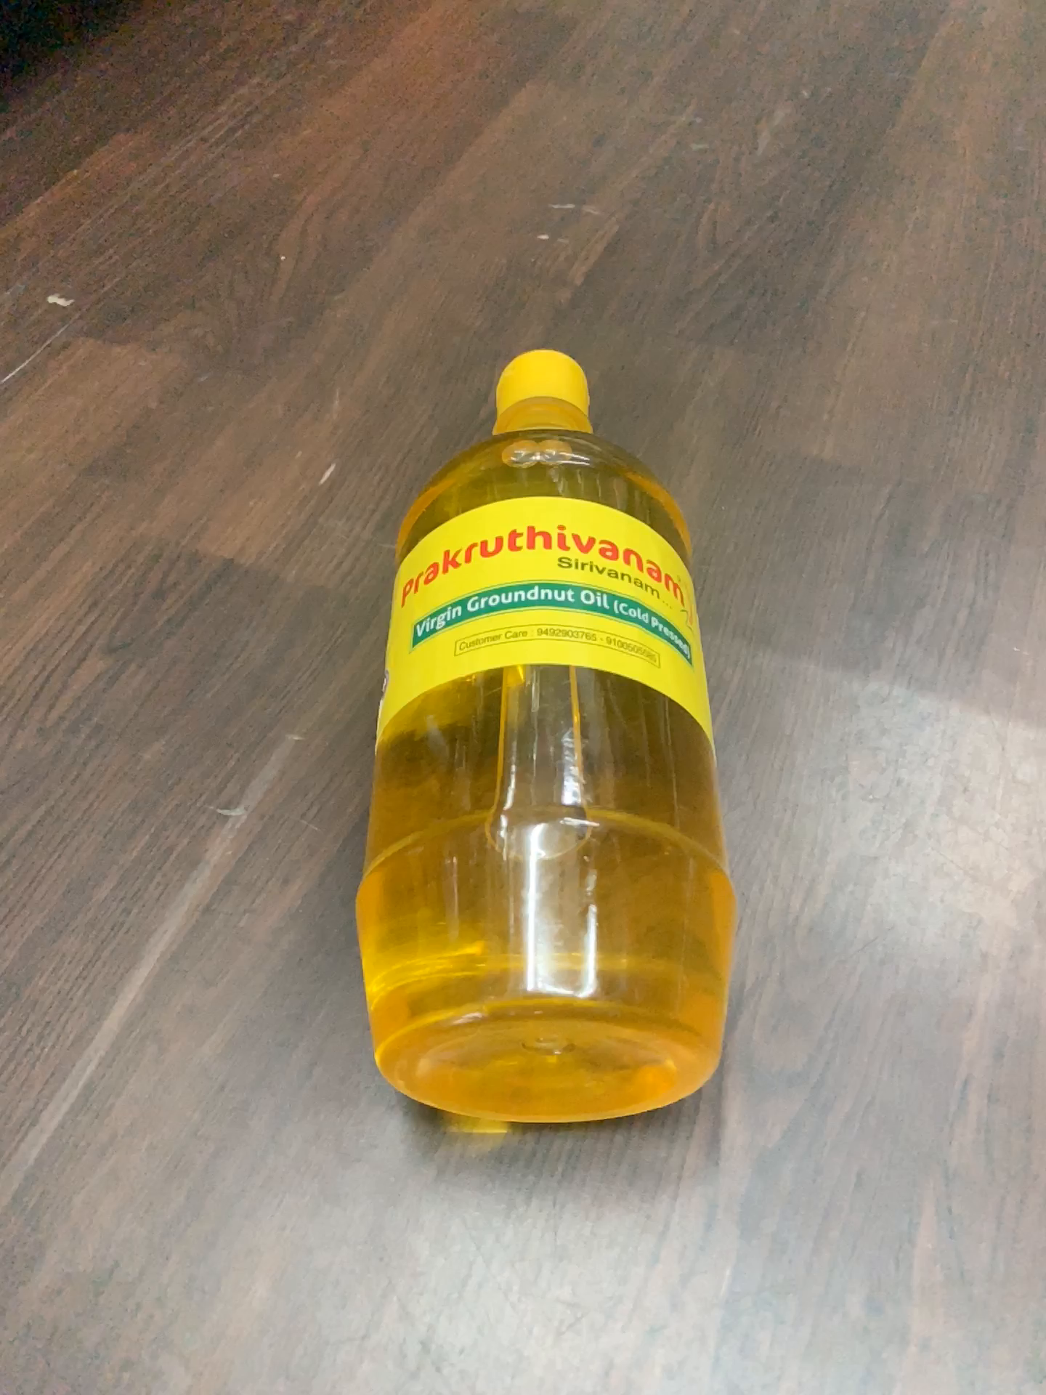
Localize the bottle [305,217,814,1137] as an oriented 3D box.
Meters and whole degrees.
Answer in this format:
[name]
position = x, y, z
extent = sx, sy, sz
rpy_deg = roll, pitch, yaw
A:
[bottle]
position = 0.007, -0.025, 0.301
extent = 0.090, 0.080, 0.261
rpy_deg = 2, 53, -1
